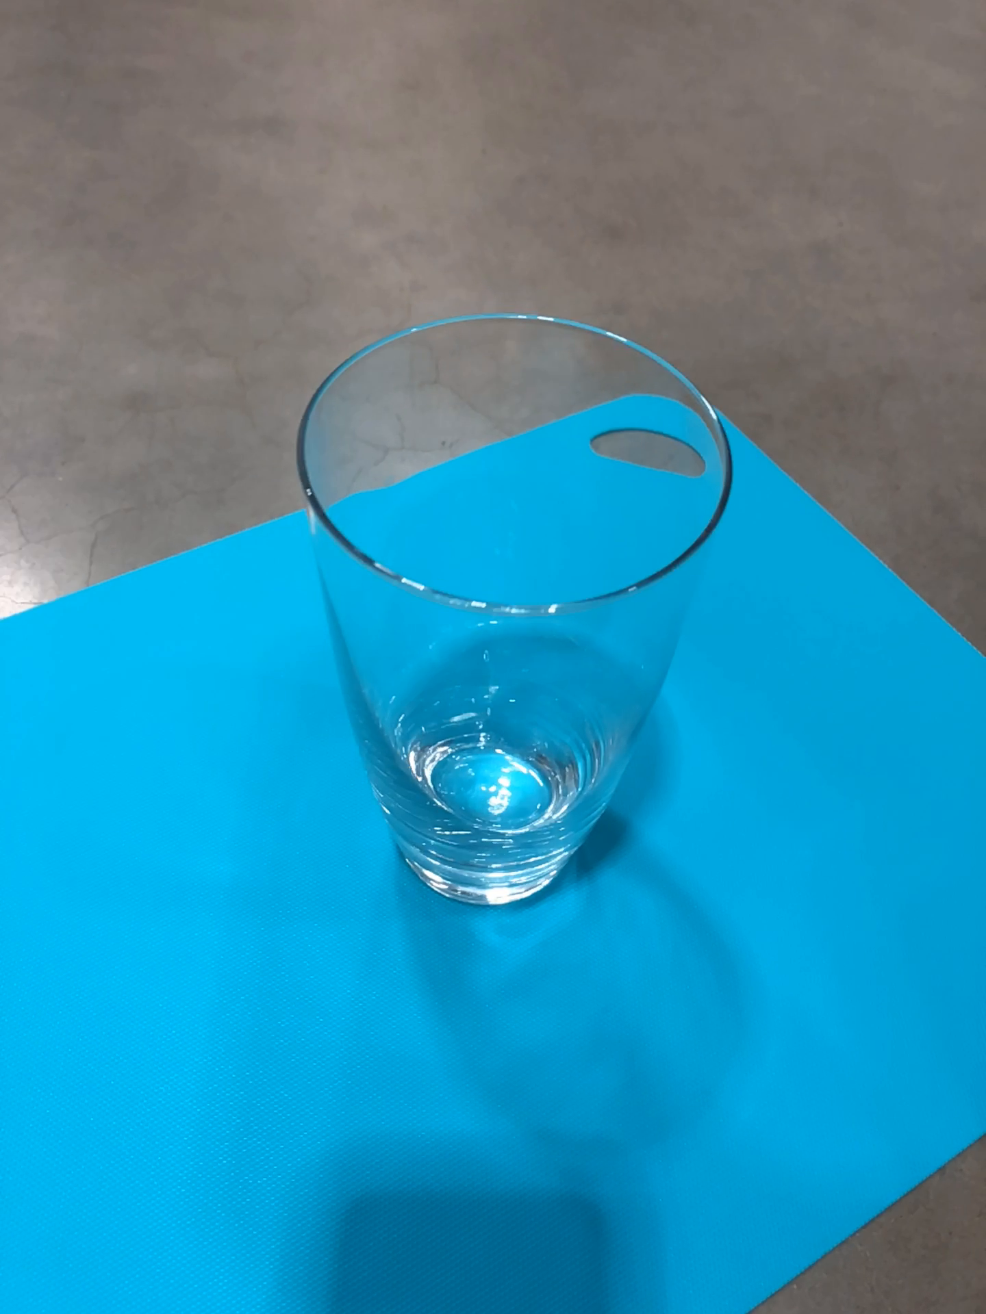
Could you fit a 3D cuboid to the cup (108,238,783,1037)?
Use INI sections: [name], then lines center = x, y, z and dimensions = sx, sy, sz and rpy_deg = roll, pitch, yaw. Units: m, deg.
[cup]
center = -0.008, 0.002, 0.286
dimensions = 0.100, 0.159, 0.100
rpy_deg = 1, 51, -2
